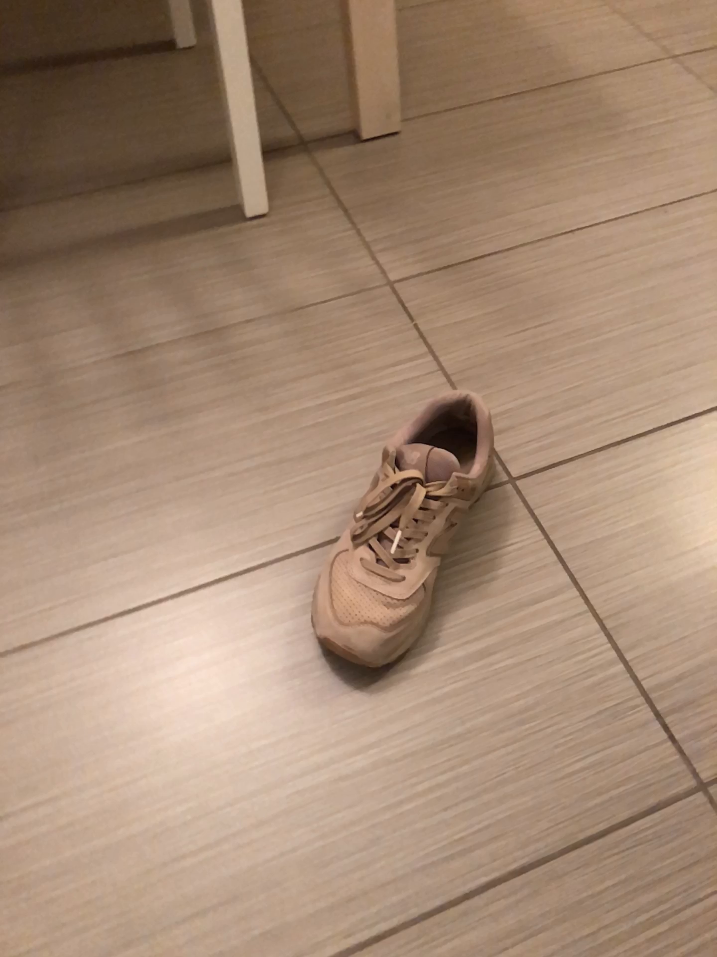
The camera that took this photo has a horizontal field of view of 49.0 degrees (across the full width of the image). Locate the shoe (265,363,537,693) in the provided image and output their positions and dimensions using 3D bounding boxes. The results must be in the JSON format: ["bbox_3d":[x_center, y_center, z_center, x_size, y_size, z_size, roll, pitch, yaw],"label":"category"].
[{"bbox_3d":[0.044,0.034,0.687,0.100,0.090,0.271,27,59,19],"label":"shoe"}]
